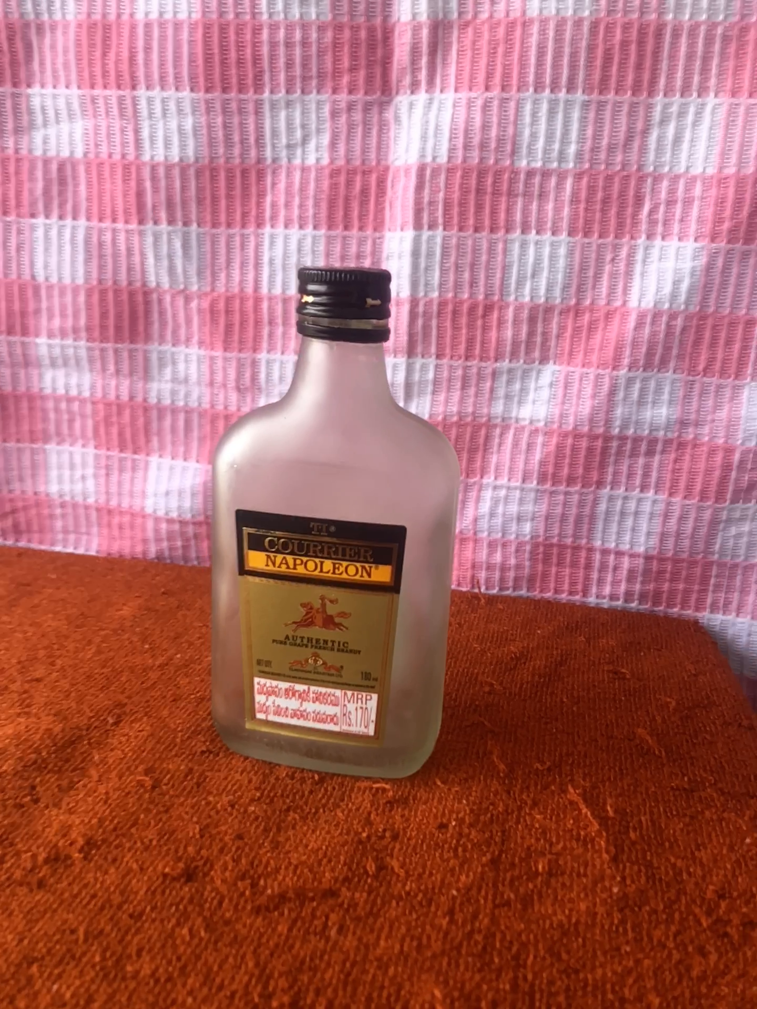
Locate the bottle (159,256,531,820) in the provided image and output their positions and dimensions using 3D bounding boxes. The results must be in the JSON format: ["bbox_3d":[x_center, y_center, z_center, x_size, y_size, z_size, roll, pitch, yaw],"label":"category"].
[{"bbox_3d":[-0.009,0.006,0.222,0.080,0.129,0.050,7,19,8],"label":"bottle"}]
